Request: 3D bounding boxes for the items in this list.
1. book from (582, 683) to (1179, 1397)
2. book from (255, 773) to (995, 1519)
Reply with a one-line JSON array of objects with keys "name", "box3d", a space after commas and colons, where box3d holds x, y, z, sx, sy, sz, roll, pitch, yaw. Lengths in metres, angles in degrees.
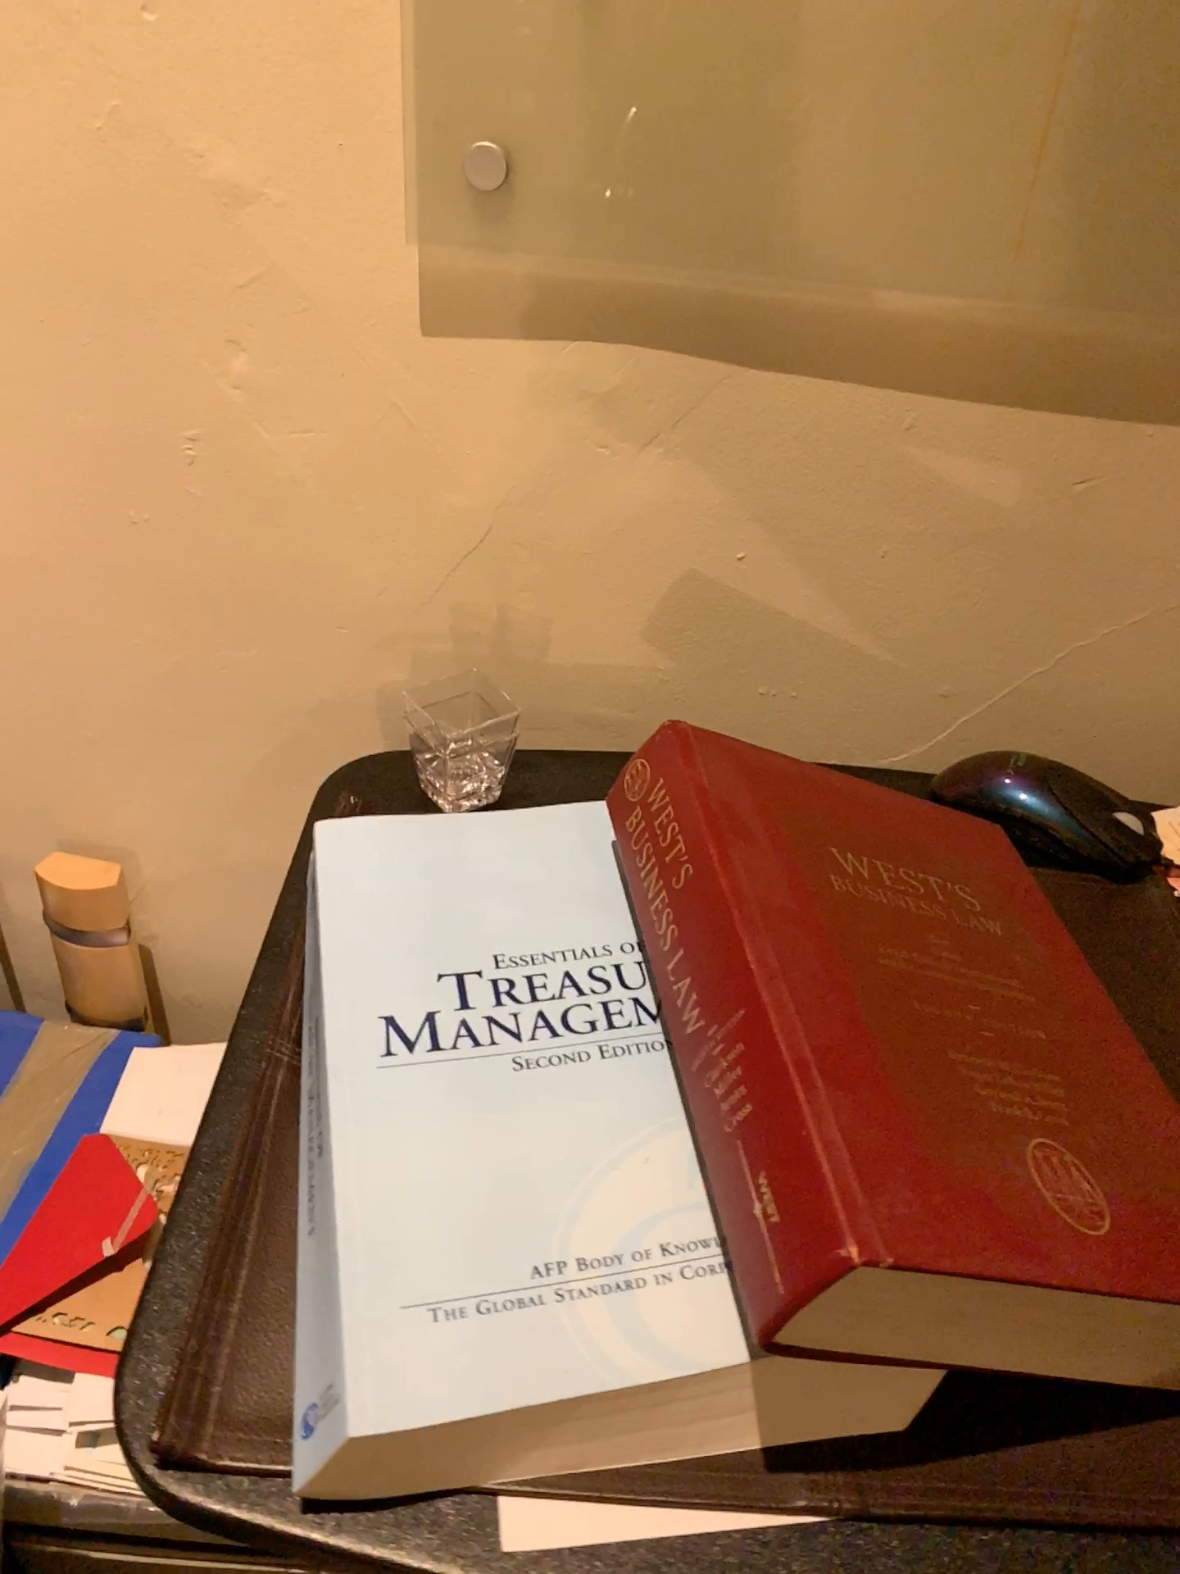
[{"name": "book", "box3d": [0.122, 0.087, 0.482, 0.210, 0.050, 0.272, 18, 33, -25]}, {"name": "book", "box3d": [-0.009, 0.110, 0.478, 0.220, 0.070, 0.272, -3, 39, -10]}]
